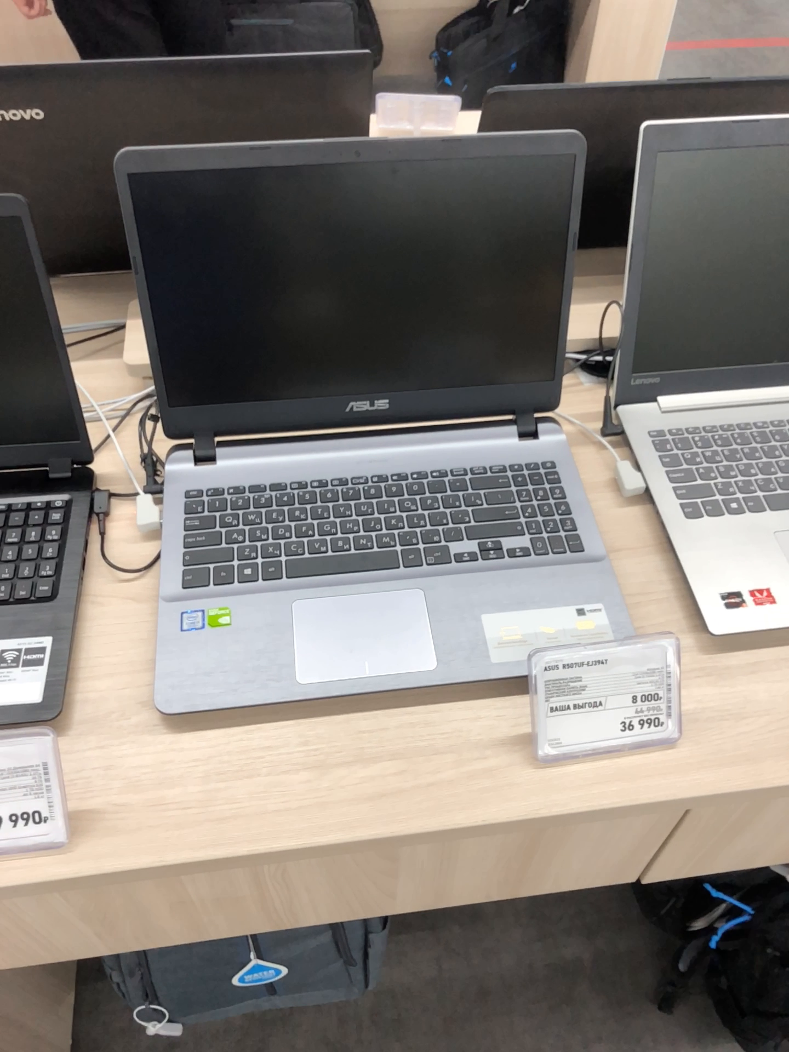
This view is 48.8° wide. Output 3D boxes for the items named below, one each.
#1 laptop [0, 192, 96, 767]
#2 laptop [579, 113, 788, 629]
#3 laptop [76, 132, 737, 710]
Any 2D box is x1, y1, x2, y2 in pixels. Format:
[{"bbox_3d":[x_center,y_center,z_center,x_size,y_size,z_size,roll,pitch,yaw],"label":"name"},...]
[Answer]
[{"bbox_3d":[-0.419,-0.040,0.588,0.332,0.222,0.292,-3,51,-6],"label":"laptop"},{"bbox_3d":[0.405,-0.133,0.694,0.370,0.220,0.333,-6,53,-8],"label":"laptop"},{"bbox_3d":[-0.012,-0.088,0.636,0.345,0.226,0.330,-5,52,-6],"label":"laptop"}]
